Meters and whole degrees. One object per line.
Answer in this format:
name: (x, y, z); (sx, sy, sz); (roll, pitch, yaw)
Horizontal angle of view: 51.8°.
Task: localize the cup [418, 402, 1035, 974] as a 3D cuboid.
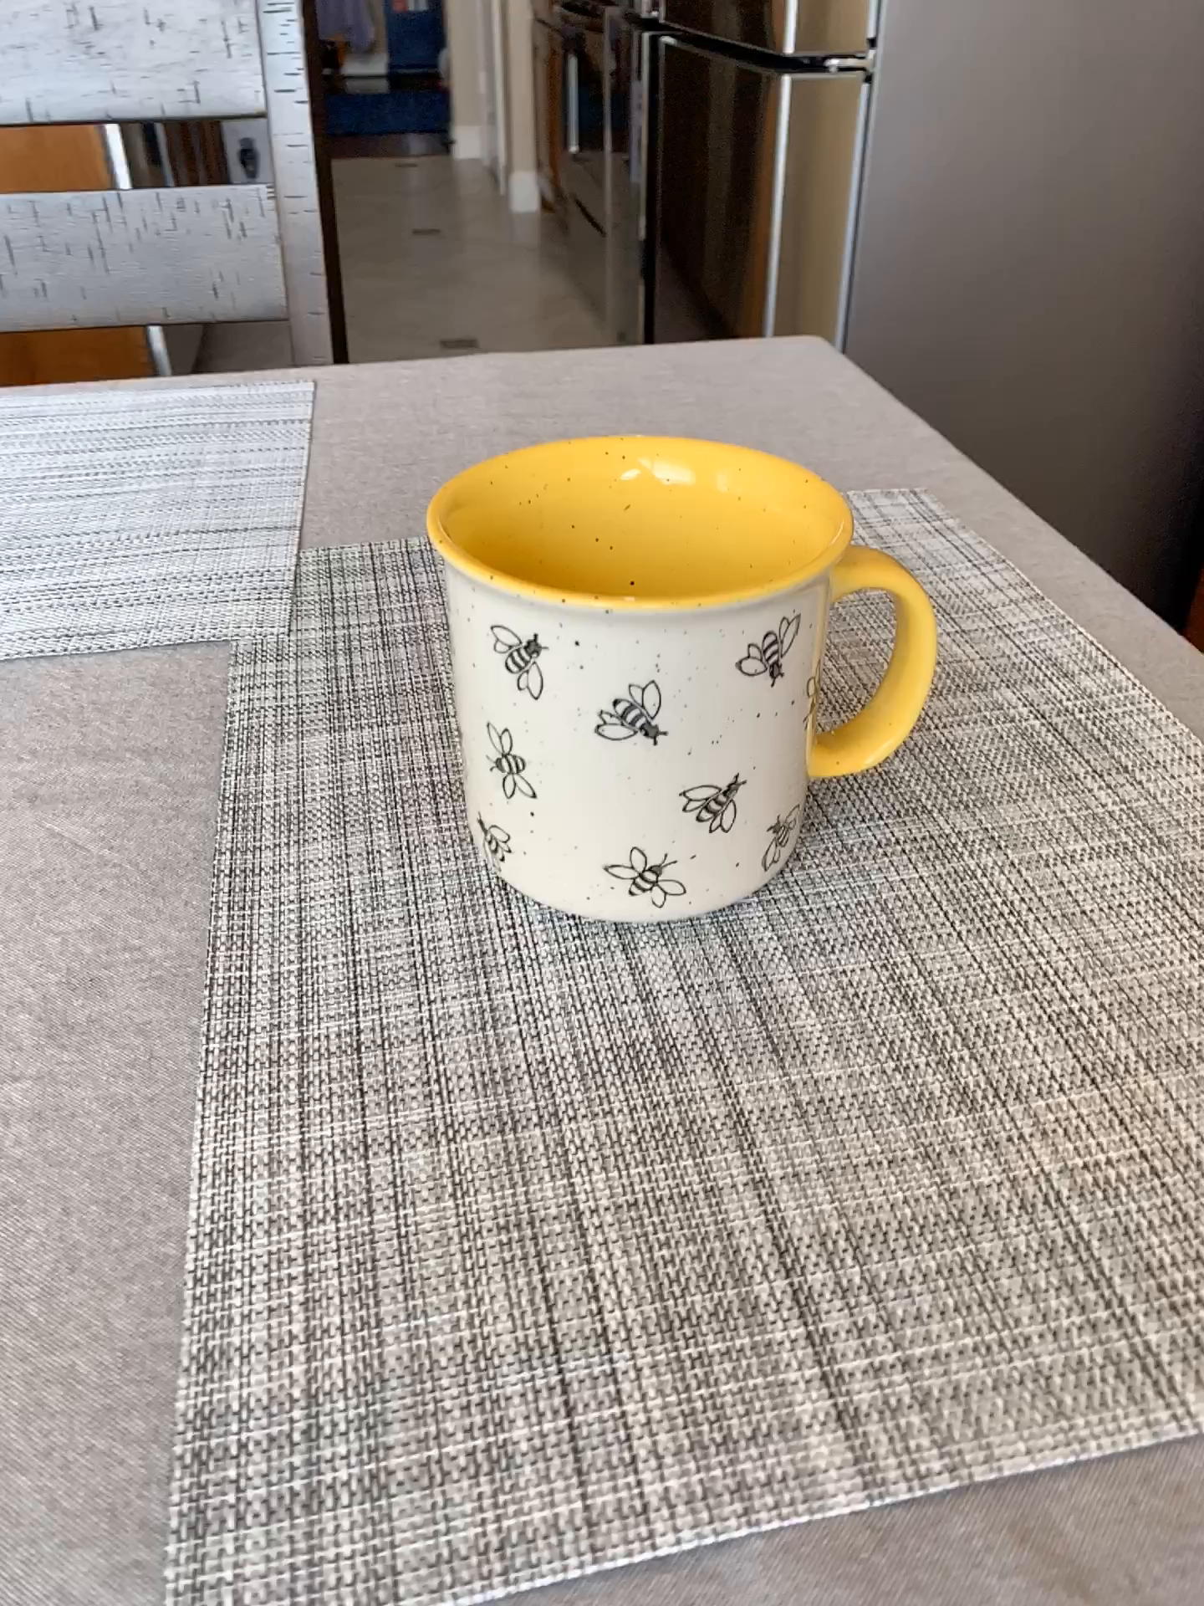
cup: (0.024, -0.038, 0.353); (0.136, 0.107, 0.114); (-6, 36, -7)
